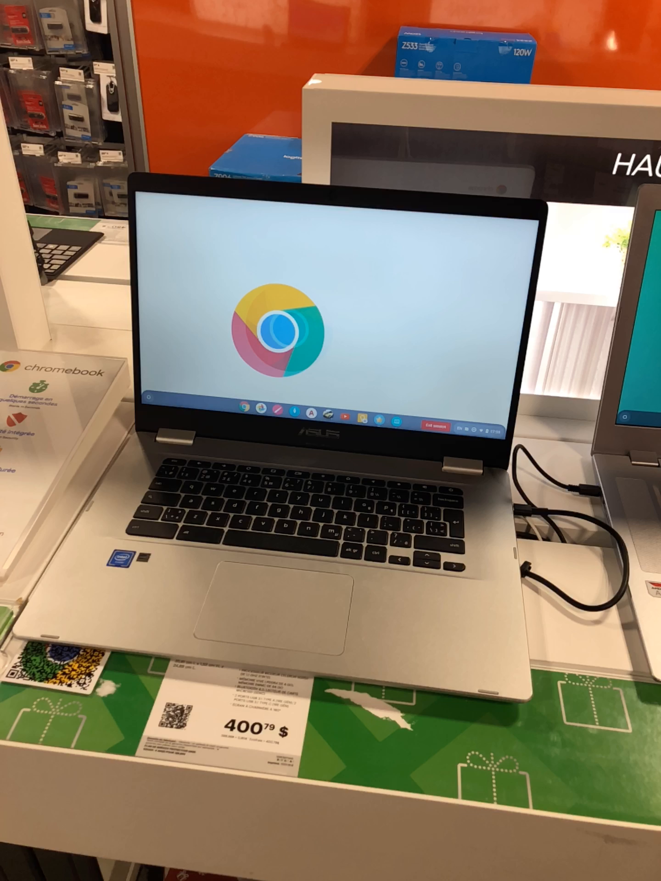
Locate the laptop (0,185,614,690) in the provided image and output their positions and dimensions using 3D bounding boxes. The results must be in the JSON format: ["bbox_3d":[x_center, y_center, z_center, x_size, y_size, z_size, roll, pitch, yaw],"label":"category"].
[{"bbox_3d":[-0.018,-0.026,0.528,0.337,0.225,0.287,5,35,6],"label":"laptop"}]
